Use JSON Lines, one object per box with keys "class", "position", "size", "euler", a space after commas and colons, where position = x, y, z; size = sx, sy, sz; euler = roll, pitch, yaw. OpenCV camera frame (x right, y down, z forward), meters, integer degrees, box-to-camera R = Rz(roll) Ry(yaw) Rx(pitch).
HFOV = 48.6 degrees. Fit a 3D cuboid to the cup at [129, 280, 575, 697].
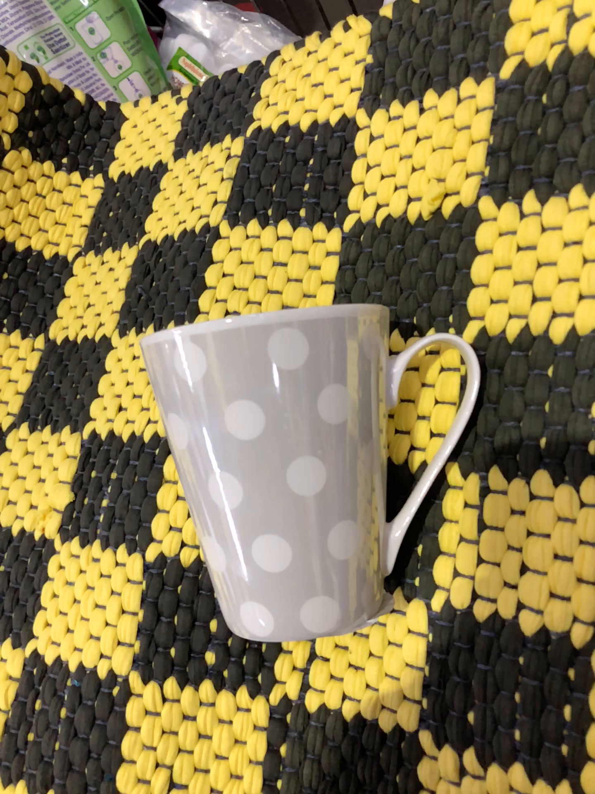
{"class": "cup", "position": [0.010, 0.022, 0.231], "size": [0.120, 0.090, 0.100], "euler": [-7, 91, -16]}
